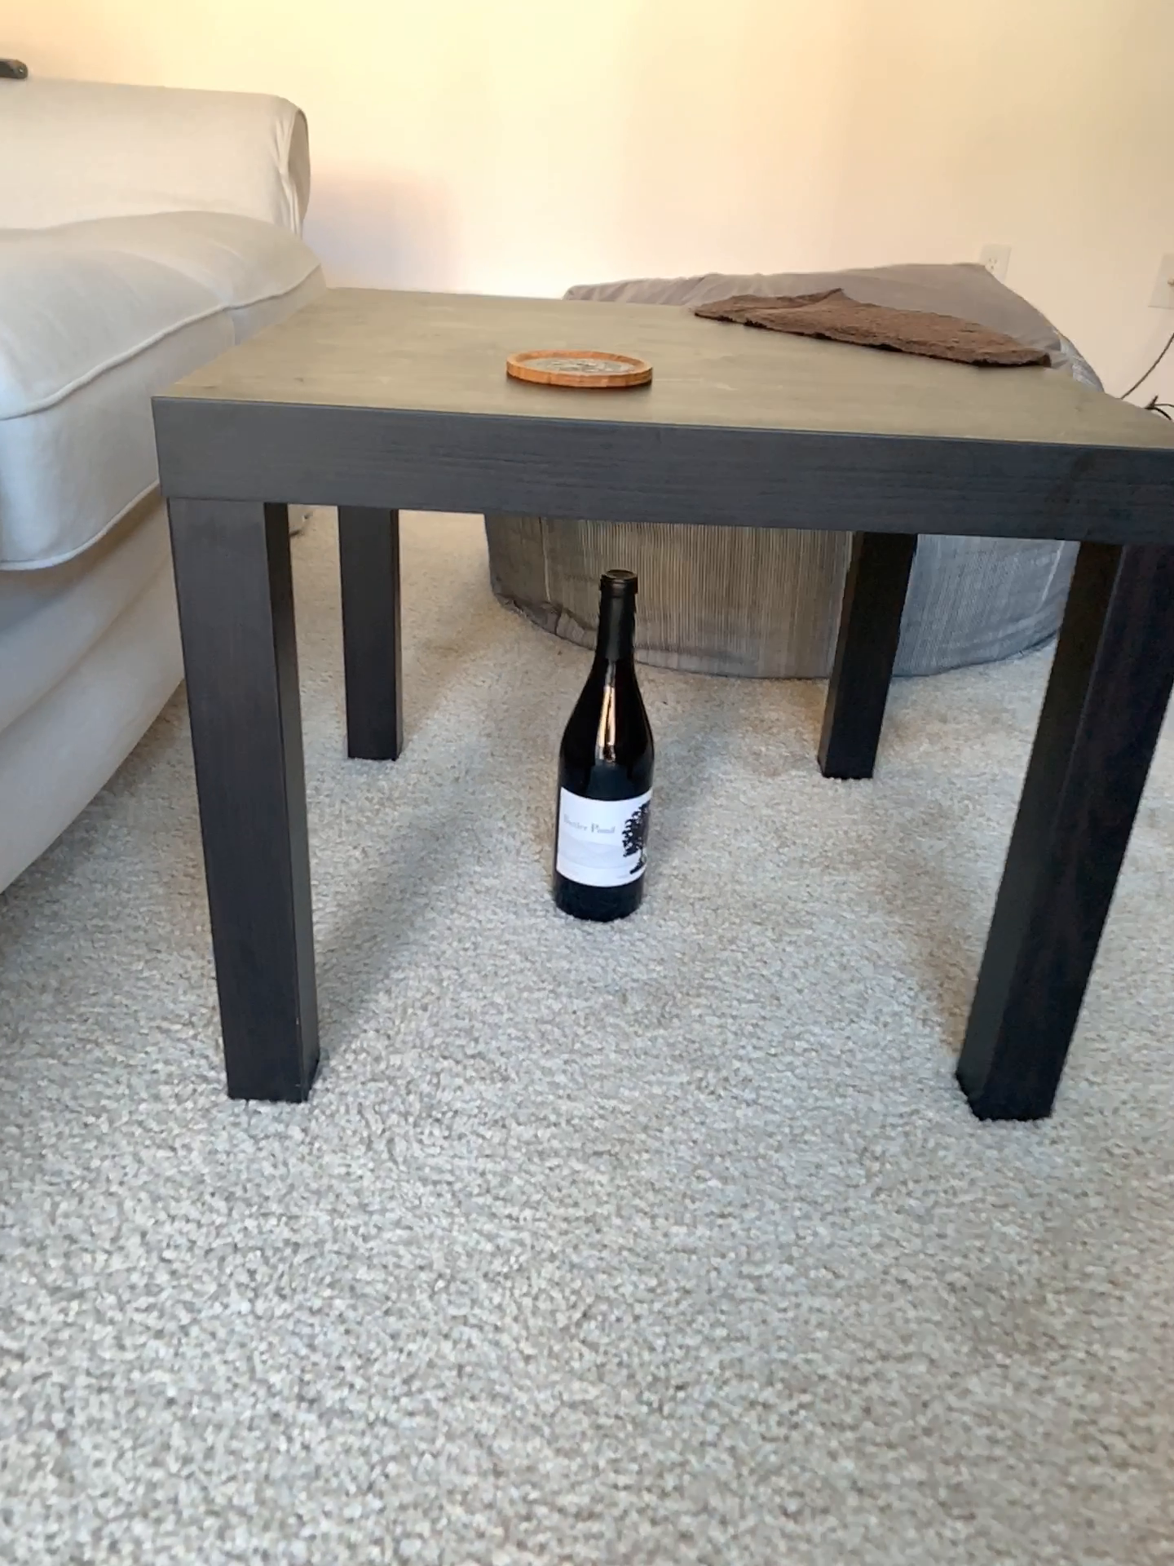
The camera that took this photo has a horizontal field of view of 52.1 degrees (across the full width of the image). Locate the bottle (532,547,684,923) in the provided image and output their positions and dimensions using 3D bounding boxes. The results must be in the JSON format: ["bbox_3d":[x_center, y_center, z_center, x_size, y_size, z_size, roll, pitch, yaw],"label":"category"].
[{"bbox_3d":[0.011,-0.034,0.963,0.090,0.288,0.091,3,28,-2],"label":"bottle"}]
